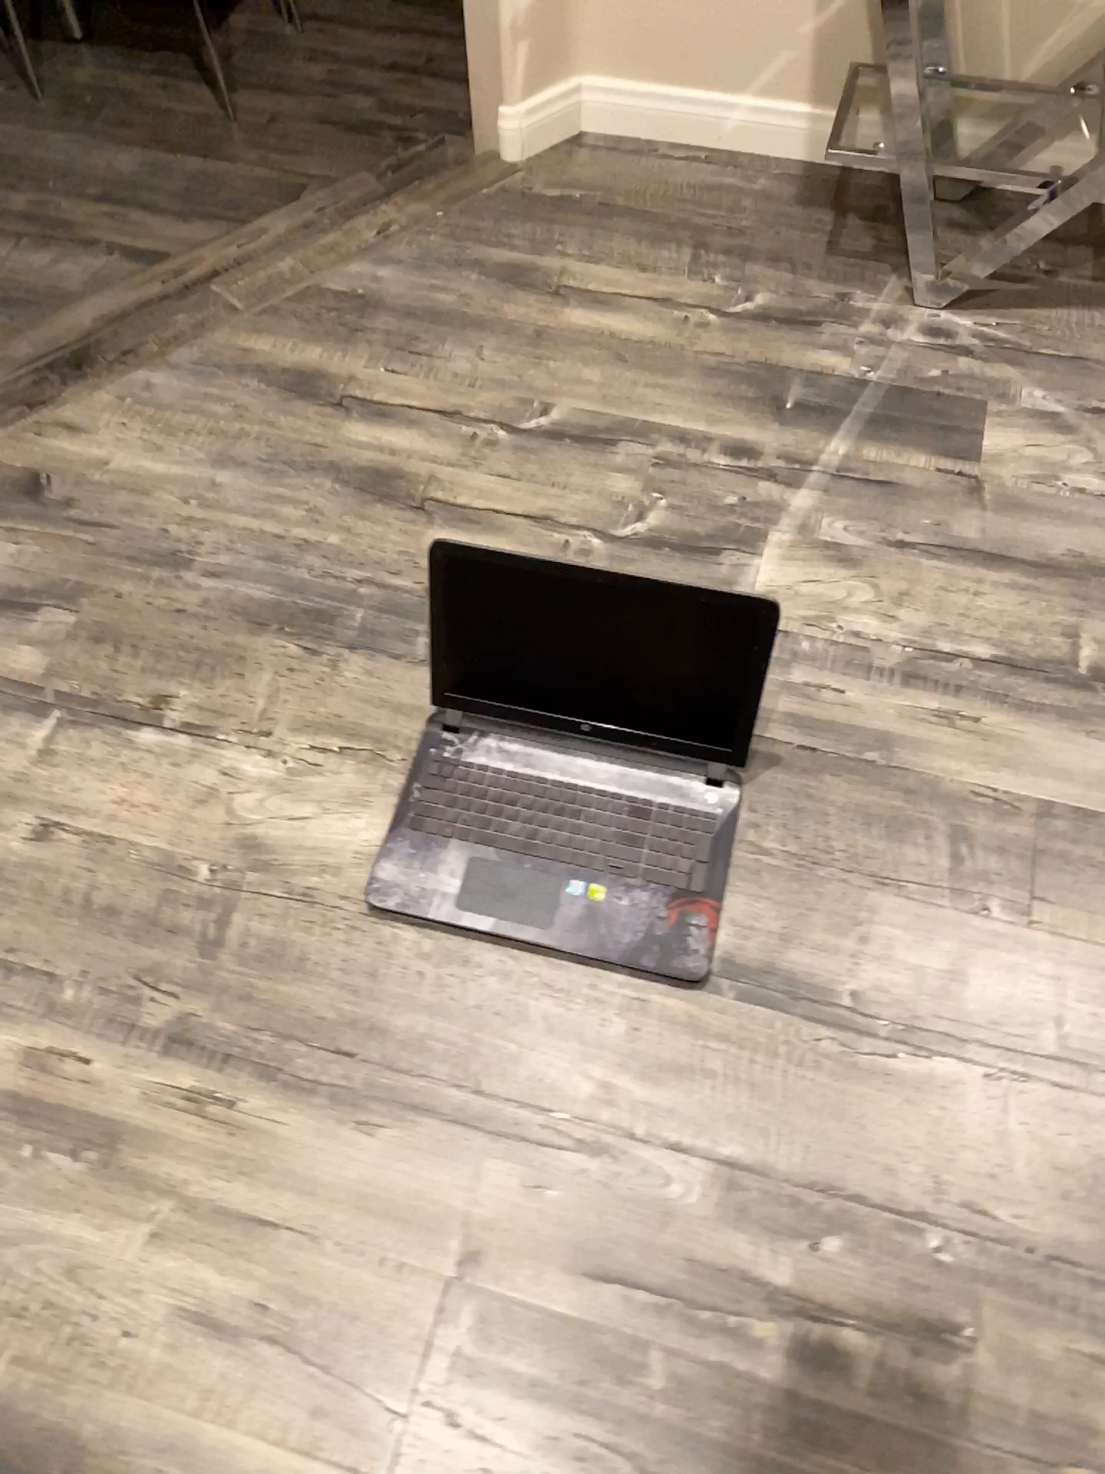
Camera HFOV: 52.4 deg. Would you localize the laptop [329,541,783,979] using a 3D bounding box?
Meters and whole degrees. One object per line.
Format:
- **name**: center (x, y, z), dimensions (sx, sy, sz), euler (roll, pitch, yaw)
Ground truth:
- **laptop**: center (0.017, 0.022, 1.182), dimensions (0.371, 0.225, 0.328), euler (11, 59, 8)
